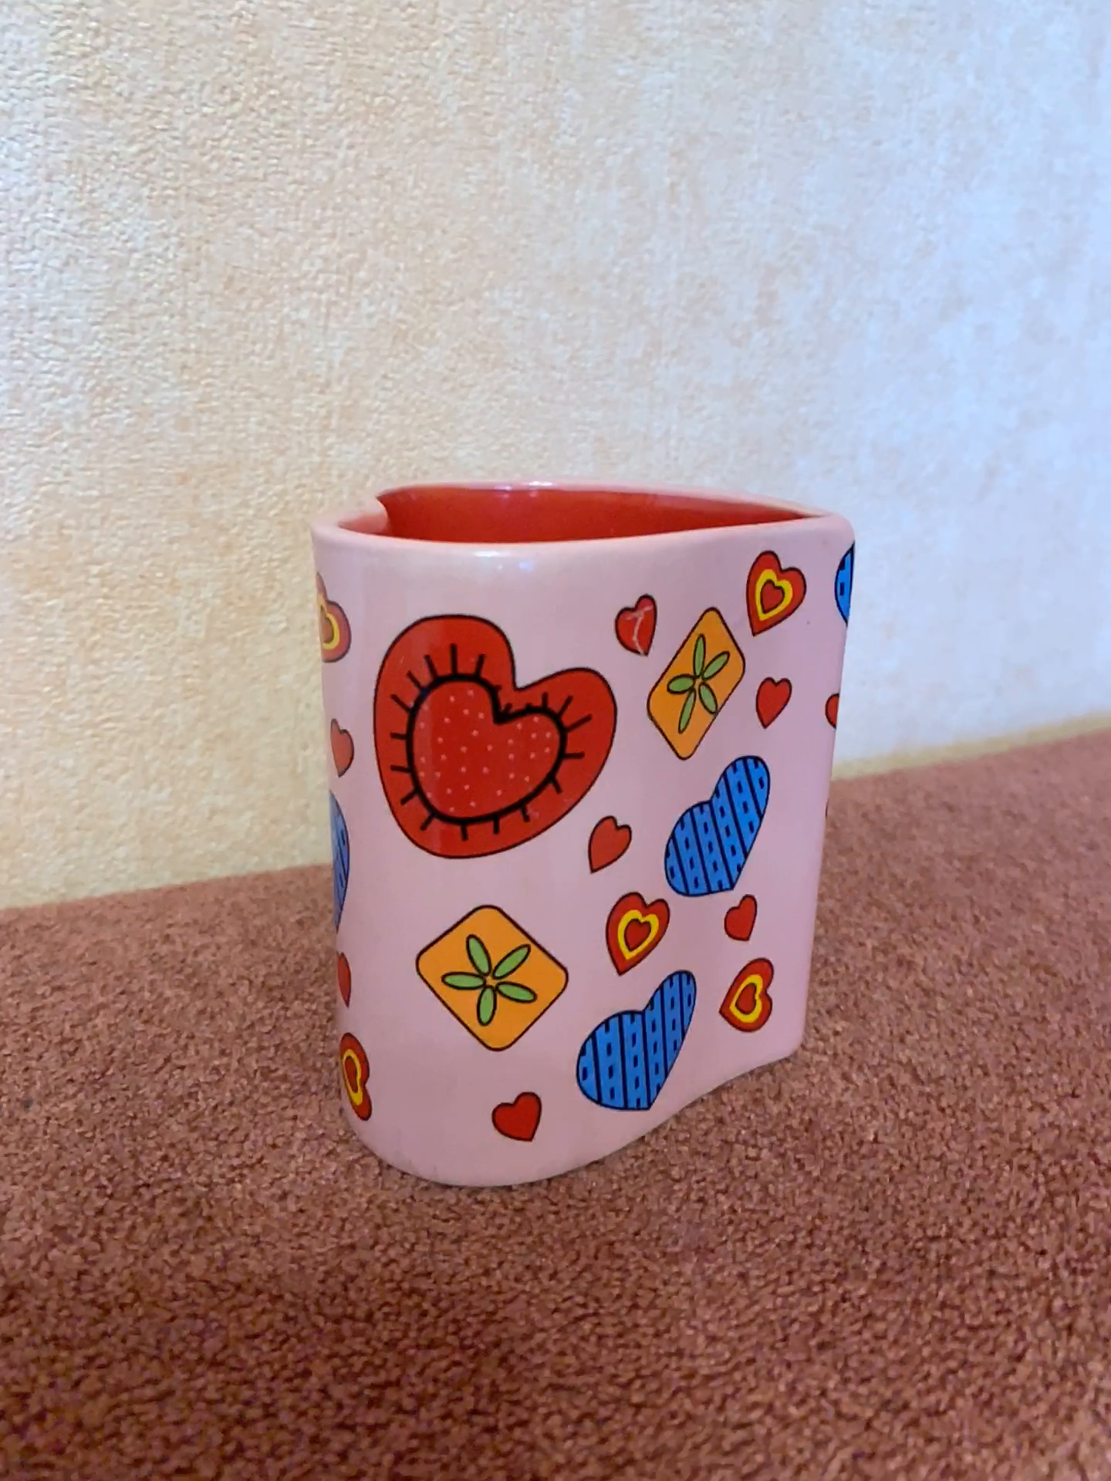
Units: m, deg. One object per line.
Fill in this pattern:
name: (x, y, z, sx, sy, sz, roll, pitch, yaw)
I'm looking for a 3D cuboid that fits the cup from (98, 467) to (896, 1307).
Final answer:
cup: (-0.010, 0.008, 0.186, 0.085, 0.091, 0.082, 1, 18, 0)
